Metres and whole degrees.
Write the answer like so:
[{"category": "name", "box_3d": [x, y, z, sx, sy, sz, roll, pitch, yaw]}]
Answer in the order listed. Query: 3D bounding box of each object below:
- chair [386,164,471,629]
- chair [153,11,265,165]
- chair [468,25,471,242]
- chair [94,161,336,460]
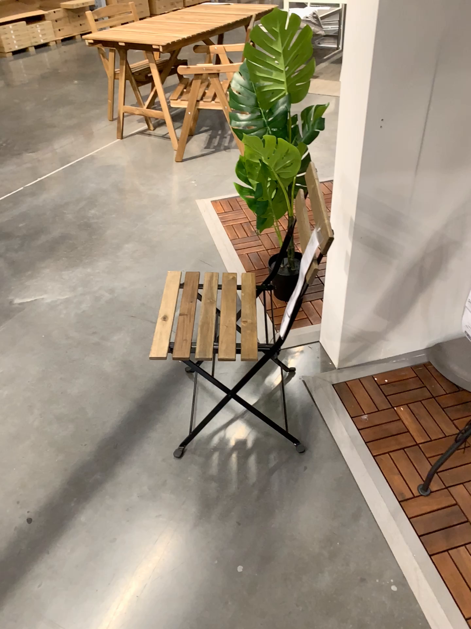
[{"category": "chair", "box_3d": [0.678, 0.234, 0.940, 0.398, 0.821, 0.559, -11, 40, -10]}, {"category": "chair", "box_3d": [-0.131, -1.549, 3.286, 0.606, 0.811, 0.641, 3, 39, 7]}, {"category": "chair", "box_3d": [1.572, -0.883, 2.330, 0.507, 0.811, 0.500, 22, 45, 28]}, {"category": "chair", "box_3d": [-0.022, 0.015, 1.326, 0.476, 0.721, 0.410, -1, 39, 3]}]
